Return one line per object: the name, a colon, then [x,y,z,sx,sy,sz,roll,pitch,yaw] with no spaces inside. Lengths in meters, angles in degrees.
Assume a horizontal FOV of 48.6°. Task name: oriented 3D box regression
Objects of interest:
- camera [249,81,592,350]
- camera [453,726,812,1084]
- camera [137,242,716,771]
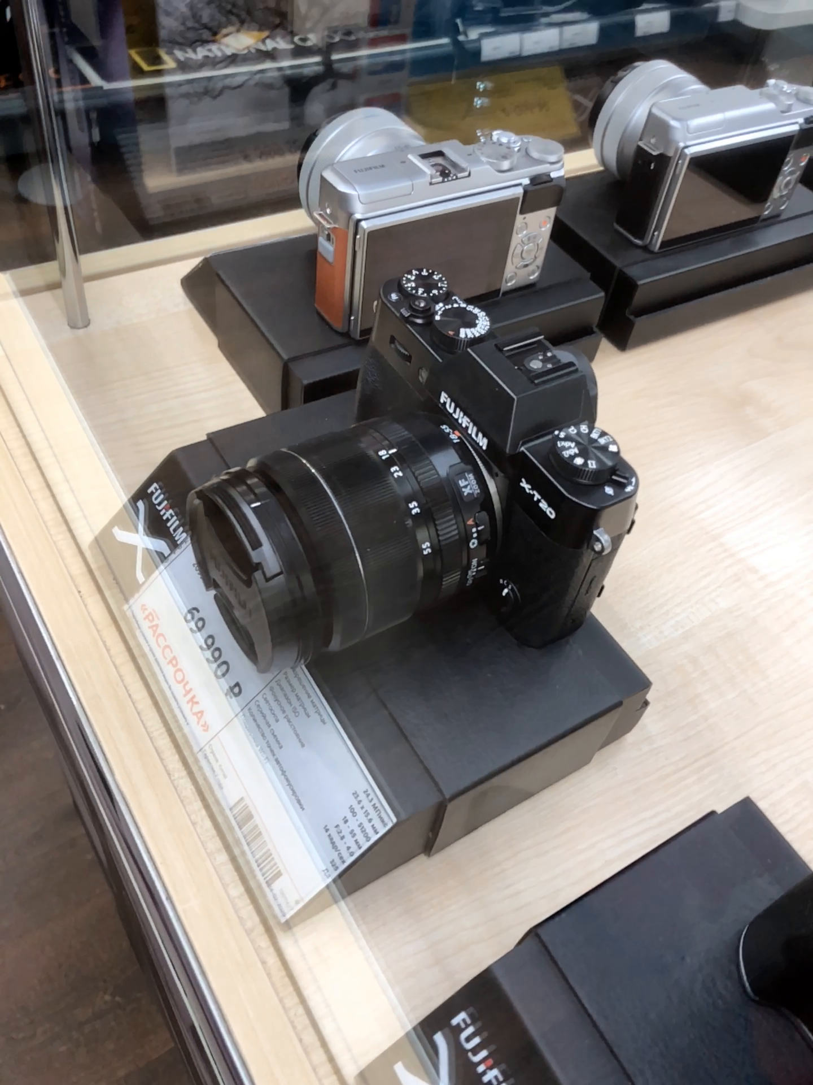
camera: [0.003,-0.146,0.394,0.122,0.064,0.074,-22,56,-25]
camera: [0.101,0.131,0.176,0.124,0.072,0.130,-22,56,-25]
camera: [-0.001,-0.020,0.297,0.130,0.080,0.122,-20,55,-24]
